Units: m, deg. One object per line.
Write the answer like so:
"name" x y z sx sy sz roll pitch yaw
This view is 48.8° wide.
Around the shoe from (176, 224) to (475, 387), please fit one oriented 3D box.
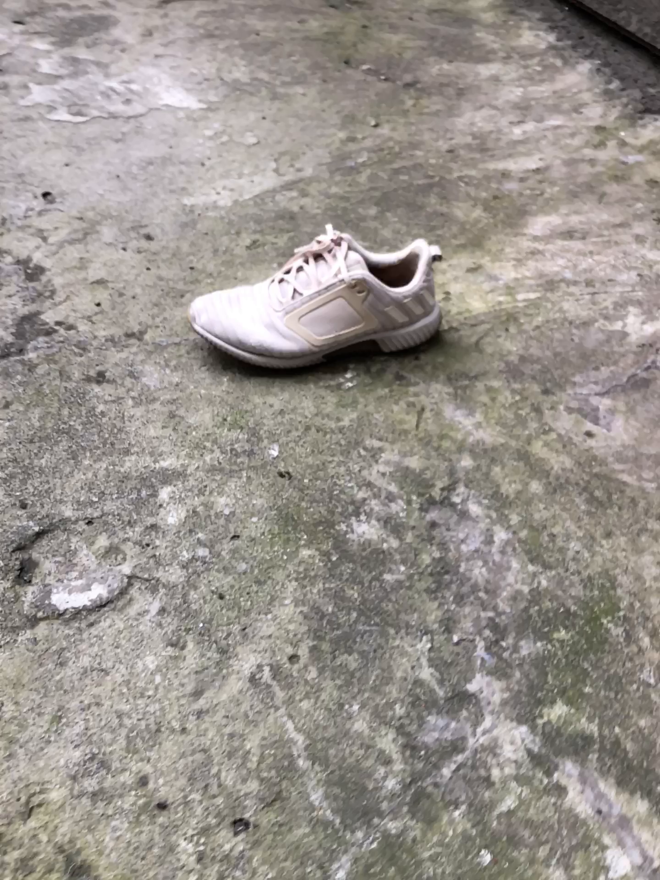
"shoe" -0.010 -0.156 0.816 0.300 0.109 0.121 -8 44 -16
